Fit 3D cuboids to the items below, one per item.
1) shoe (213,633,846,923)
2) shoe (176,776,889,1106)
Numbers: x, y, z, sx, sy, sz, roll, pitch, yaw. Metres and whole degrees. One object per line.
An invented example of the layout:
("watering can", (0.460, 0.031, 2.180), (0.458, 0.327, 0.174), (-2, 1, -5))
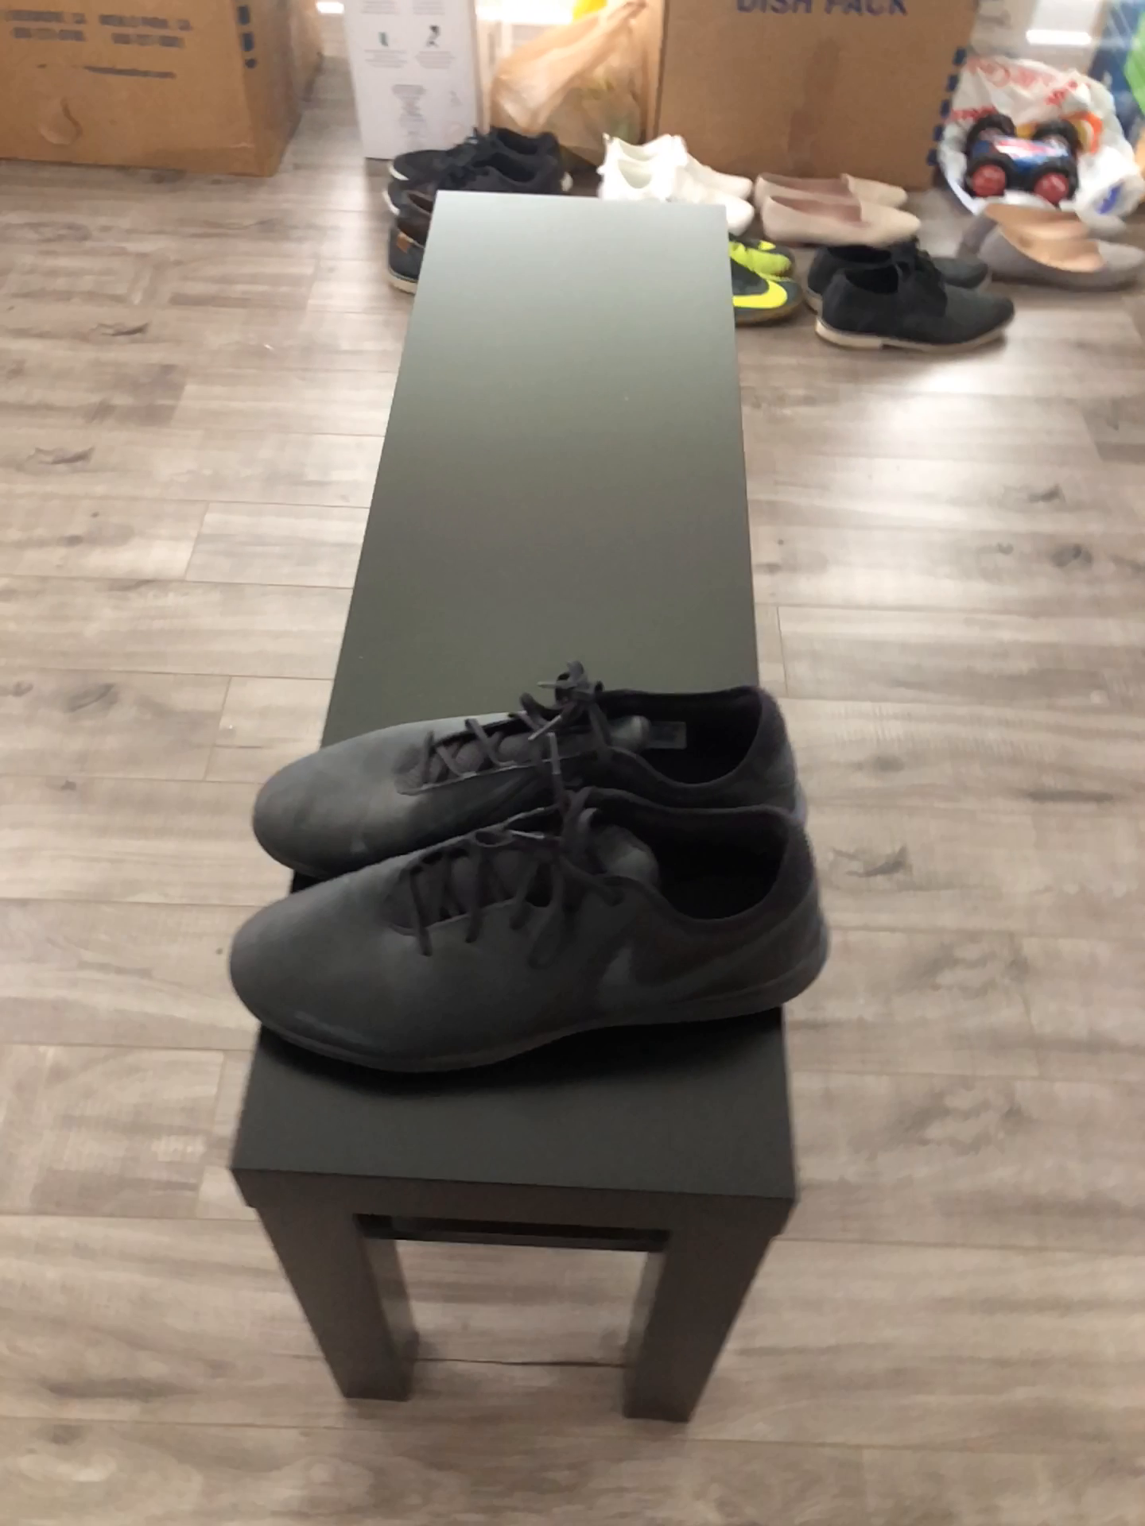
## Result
("shoe", (-0.021, 0.010, 0.656), (0.294, 0.110, 0.100), (1, 51, -2))
("shoe", (-0.019, 0.084, 0.591), (0.294, 0.110, 0.100), (-2, 51, -4))
